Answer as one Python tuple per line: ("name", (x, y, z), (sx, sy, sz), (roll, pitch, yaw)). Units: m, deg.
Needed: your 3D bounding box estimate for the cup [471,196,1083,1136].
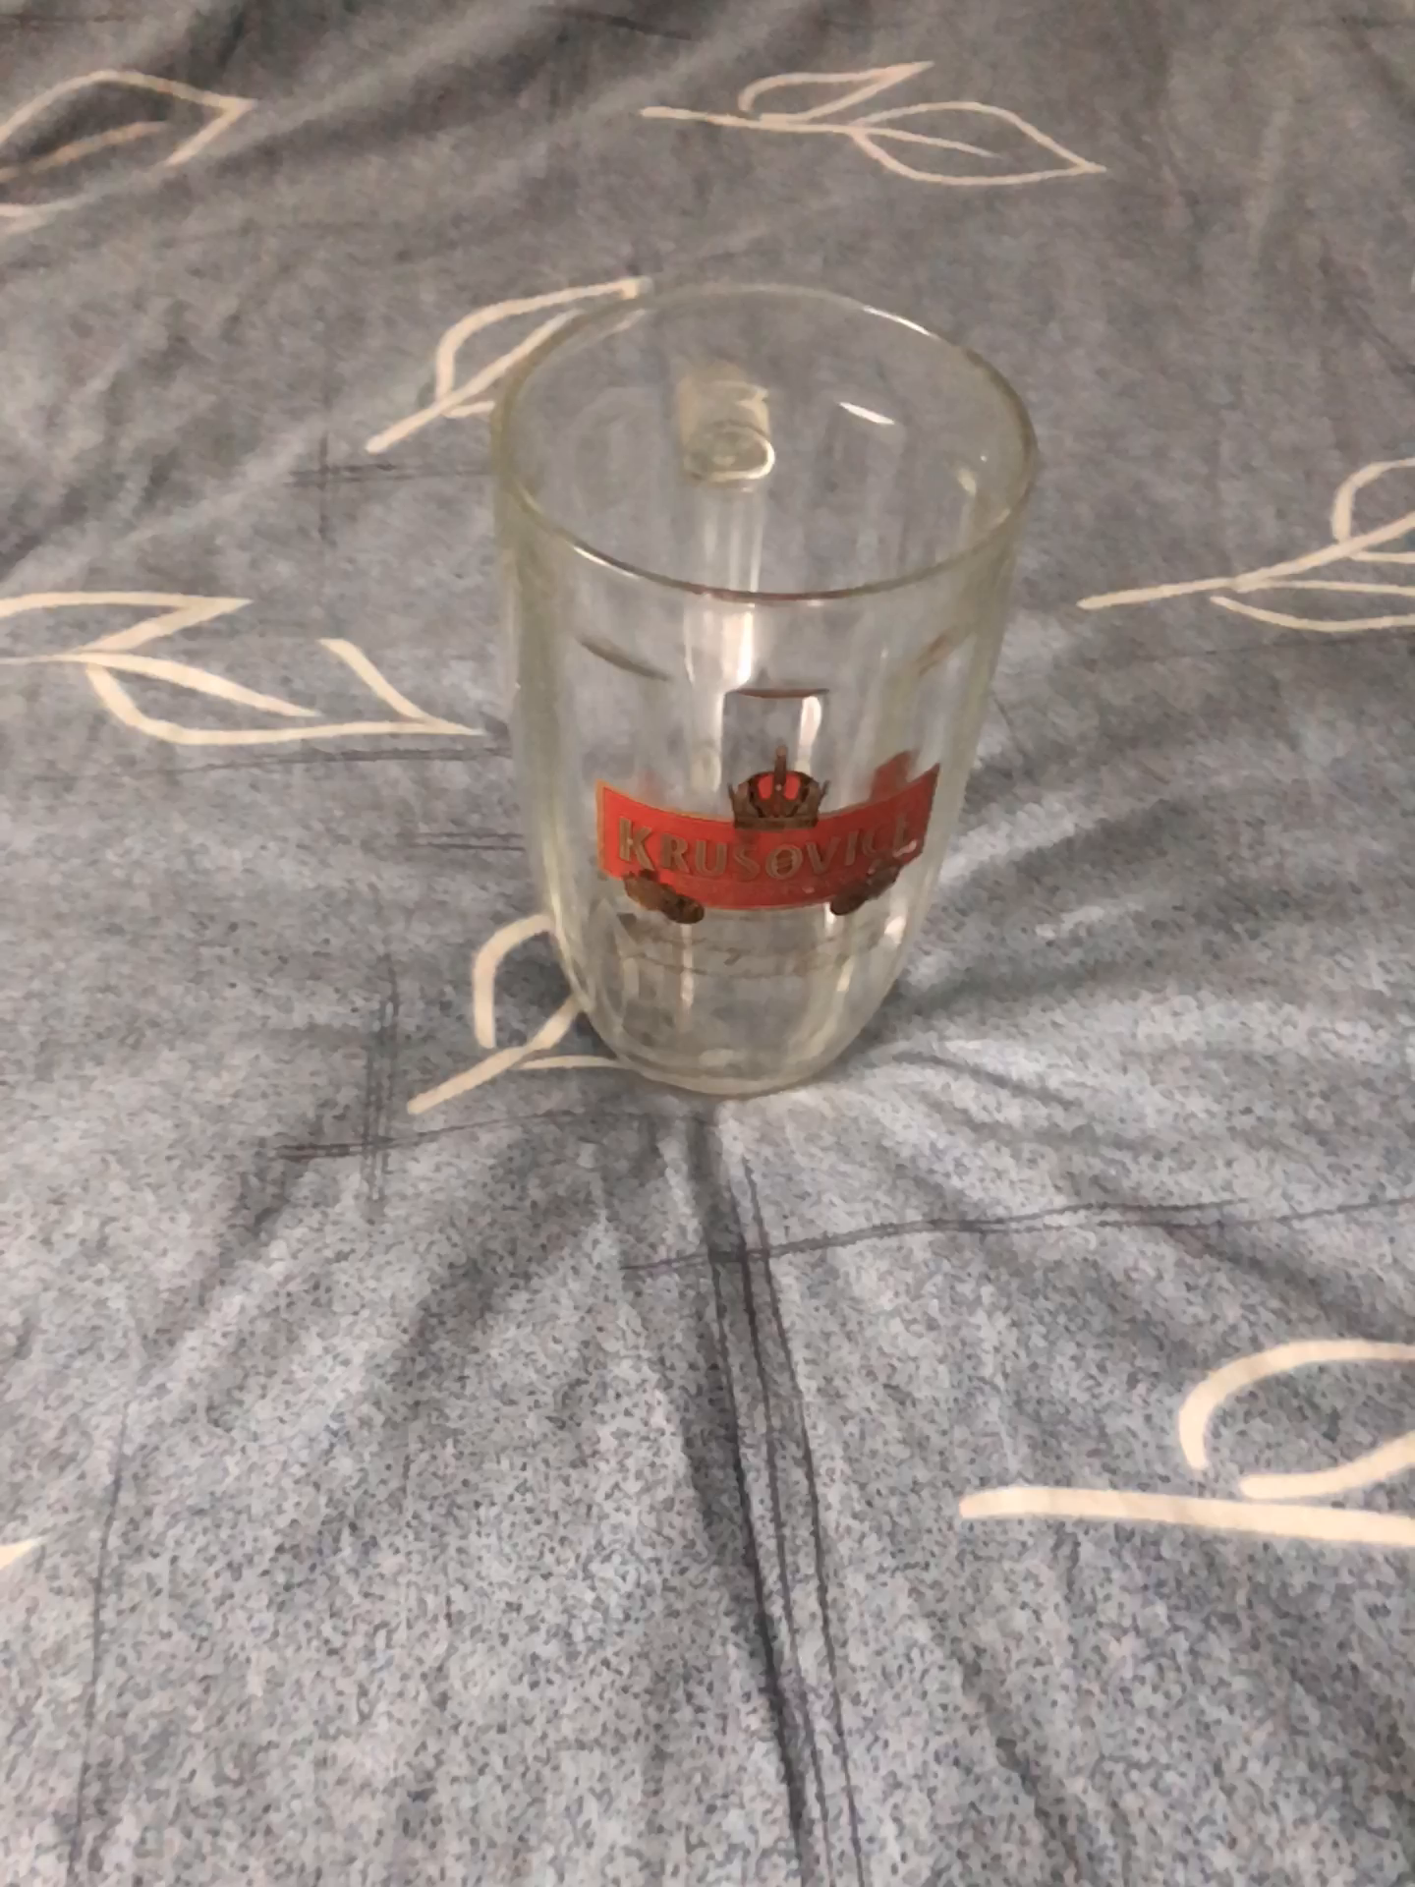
("cup", (0.007, -0.056, 0.325), (0.091, 0.136, 0.128), (-5, 48, -2))
